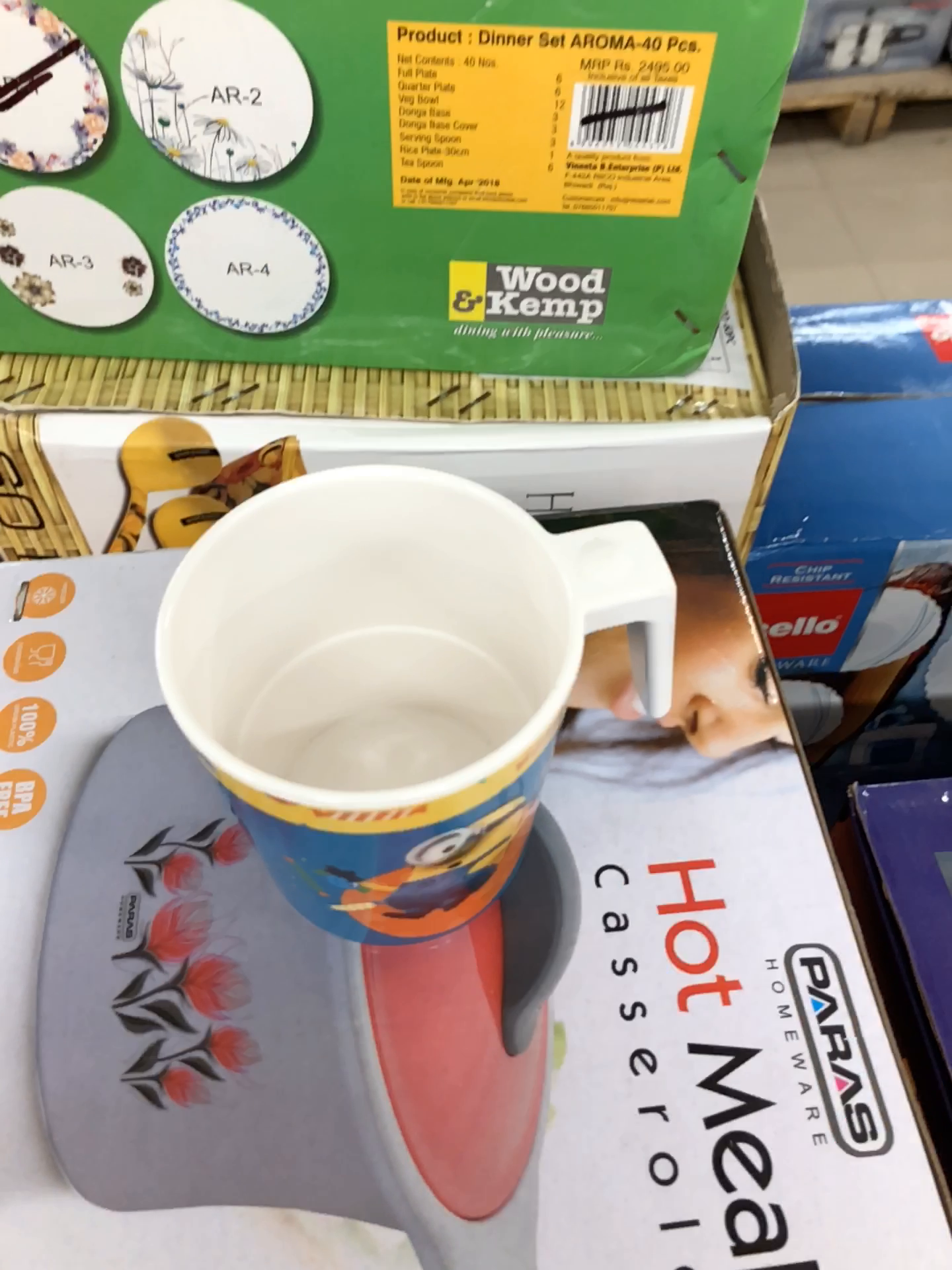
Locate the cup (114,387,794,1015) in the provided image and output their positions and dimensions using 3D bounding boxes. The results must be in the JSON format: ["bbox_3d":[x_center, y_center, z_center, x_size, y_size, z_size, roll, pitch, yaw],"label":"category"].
[{"bbox_3d":[-0.007,0.014,0.236,0.110,0.080,0.080,-18,56,-12],"label":"cup"}]
